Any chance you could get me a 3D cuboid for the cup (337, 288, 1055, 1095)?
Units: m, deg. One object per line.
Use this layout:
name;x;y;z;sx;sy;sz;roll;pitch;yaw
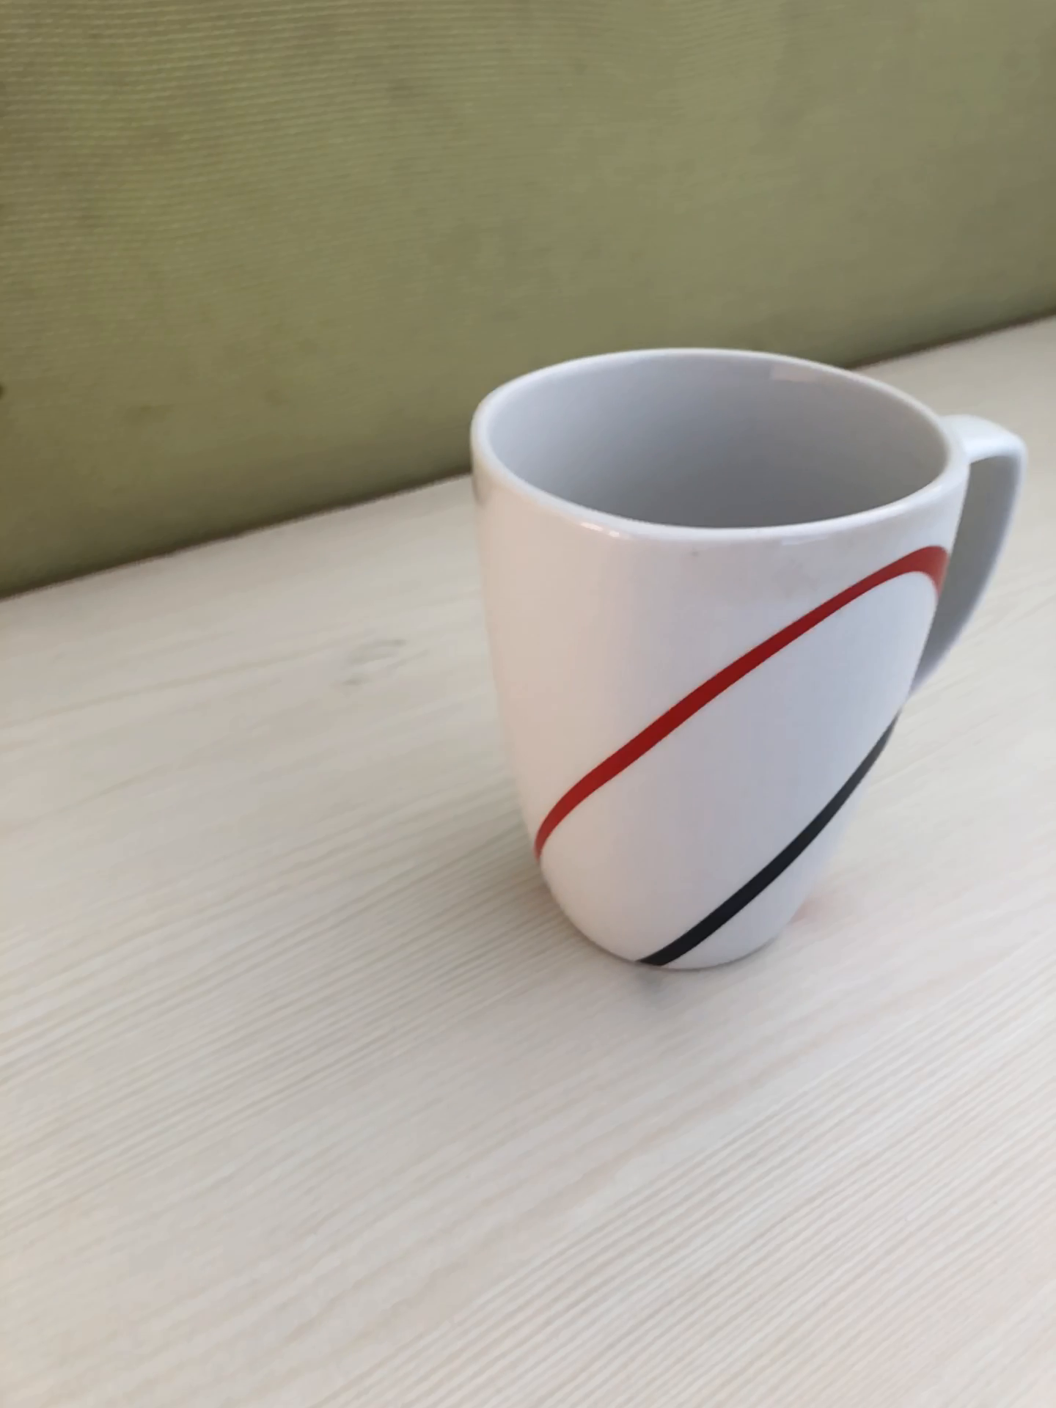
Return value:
cup;0.048;-0.013;0.234;0.140;0.099;0.090;-14;35;-20
